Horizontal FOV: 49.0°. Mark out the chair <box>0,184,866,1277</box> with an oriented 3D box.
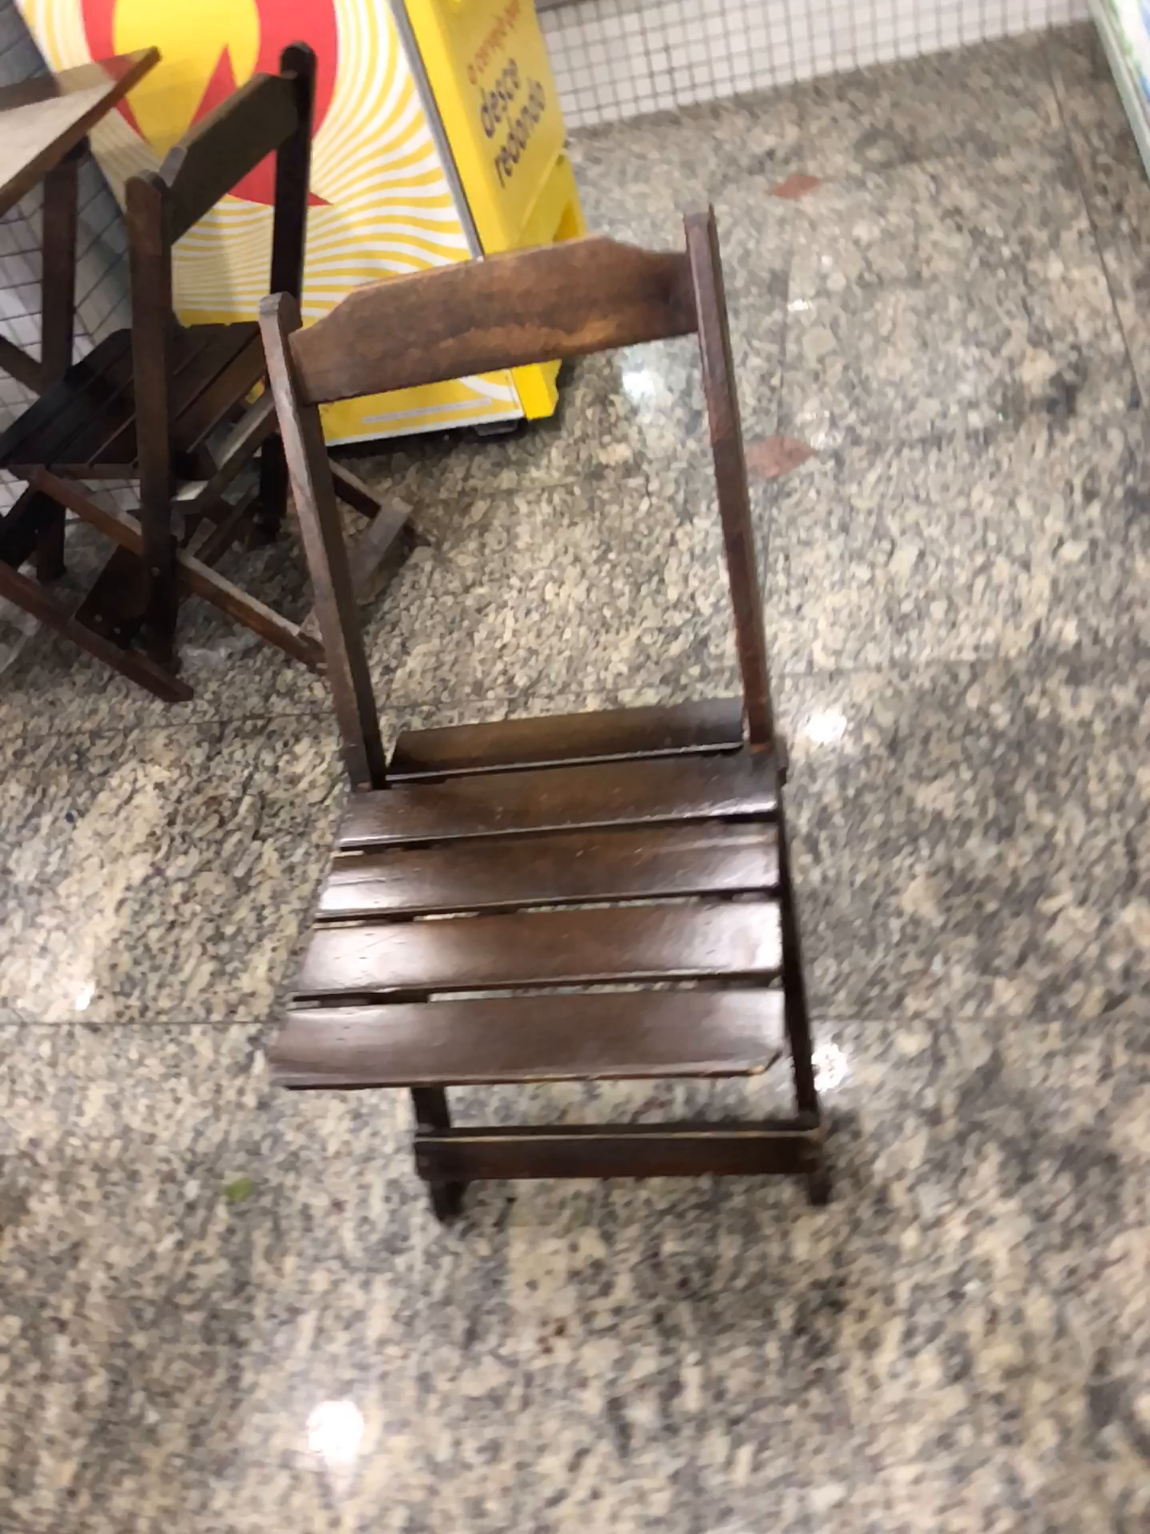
[{"bbox_3d":[-0.028,0.011,1.081,0.440,0.705,0.554,-7,44,14],"label":"chair"}]
